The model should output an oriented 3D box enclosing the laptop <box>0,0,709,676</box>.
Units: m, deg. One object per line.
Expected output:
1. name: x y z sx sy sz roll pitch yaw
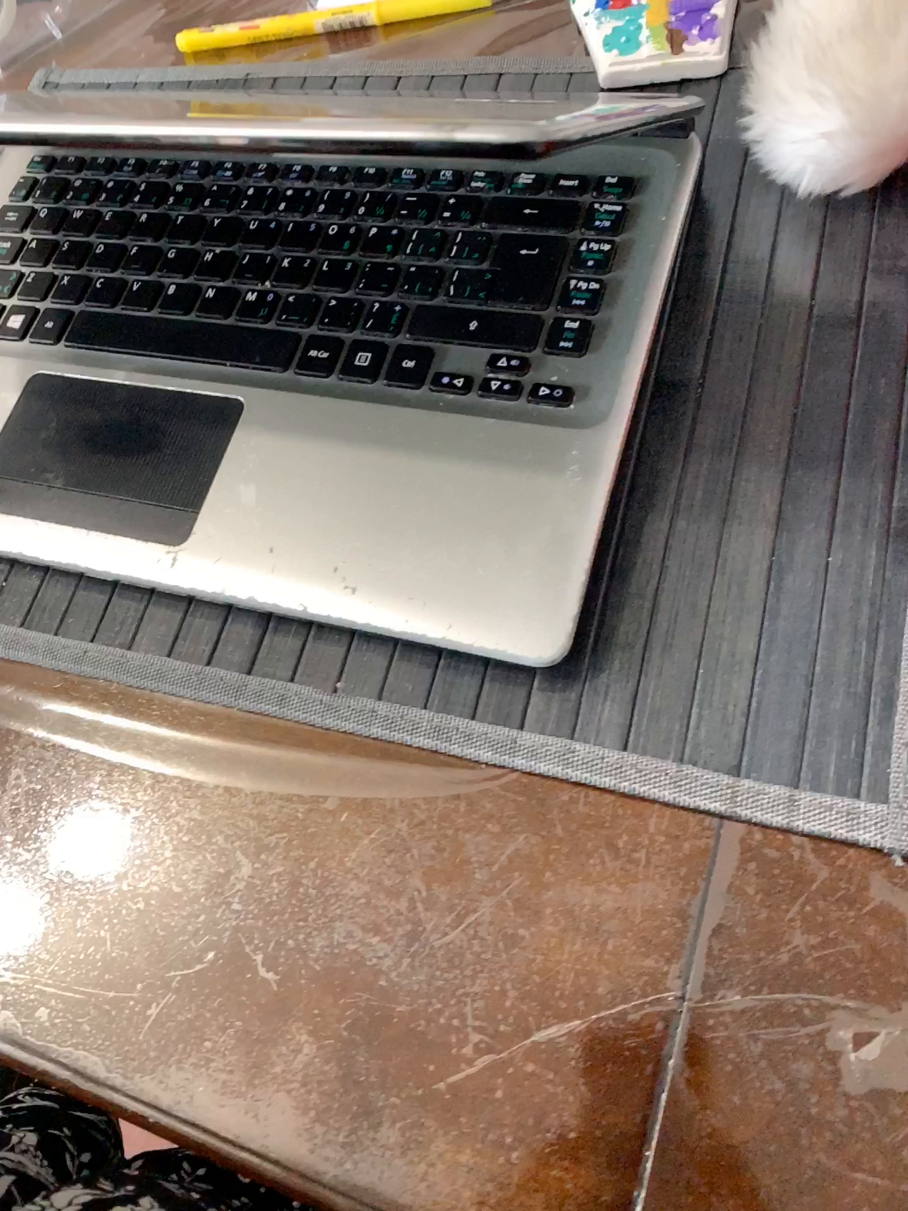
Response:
1. laptop: -0.109 -0.145 0.326 0.345 0.145 0.236 11 69 19
